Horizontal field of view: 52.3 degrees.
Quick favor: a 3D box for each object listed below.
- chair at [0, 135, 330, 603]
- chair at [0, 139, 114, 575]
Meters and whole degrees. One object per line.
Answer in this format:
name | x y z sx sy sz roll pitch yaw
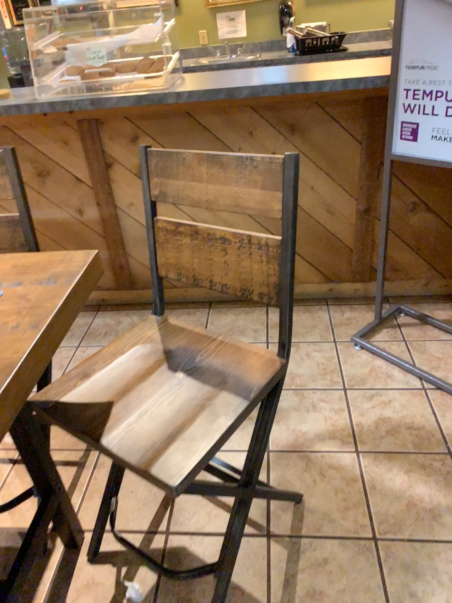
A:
chair | -0.109 0.211 1.080 0.443 0.983 0.617 17 41 34
chair | -0.742 0.169 1.263 0.492 1.002 0.618 -1 35 6
